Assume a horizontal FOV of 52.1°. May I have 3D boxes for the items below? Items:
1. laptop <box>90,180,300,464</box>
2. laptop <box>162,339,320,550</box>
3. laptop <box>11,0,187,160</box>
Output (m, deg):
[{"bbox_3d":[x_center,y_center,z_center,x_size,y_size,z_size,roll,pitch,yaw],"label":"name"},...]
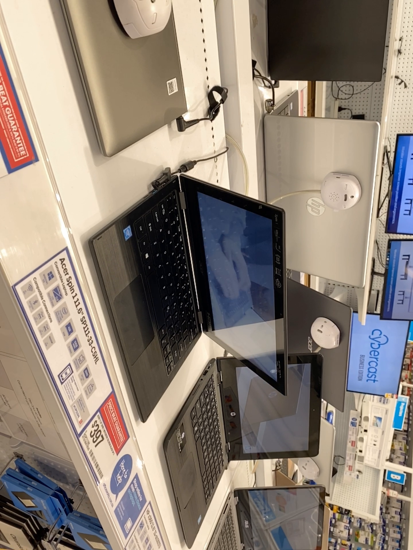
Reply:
[{"bbox_3d":[0.012,0.050,0.562,0.197,0.175,0.291,-51,142,-50],"label":"laptop"},{"bbox_3d":[0.098,0.353,0.843,0.297,0.190,0.324,-51,142,-49],"label":"laptop"},{"bbox_3d":[-0.086,-0.301,0.452,0.195,0.001,0.285,-51,140,-49],"label":"laptop"}]
